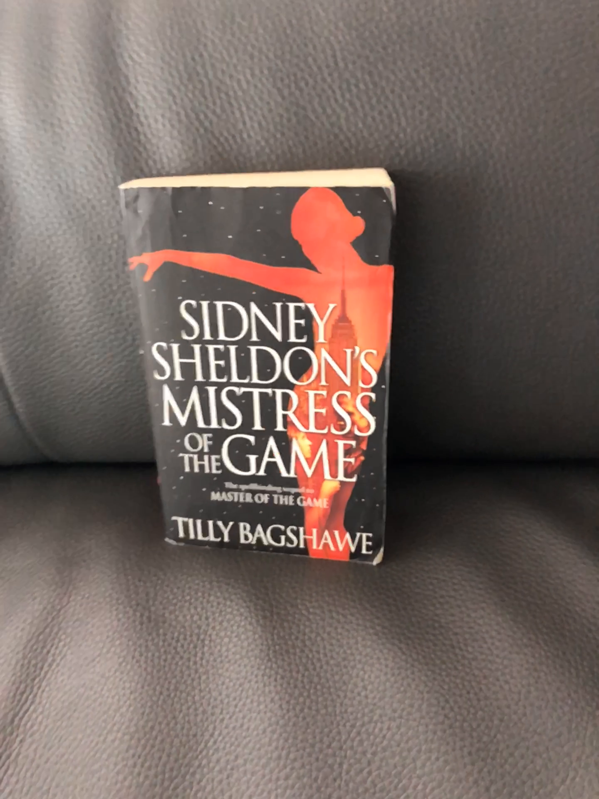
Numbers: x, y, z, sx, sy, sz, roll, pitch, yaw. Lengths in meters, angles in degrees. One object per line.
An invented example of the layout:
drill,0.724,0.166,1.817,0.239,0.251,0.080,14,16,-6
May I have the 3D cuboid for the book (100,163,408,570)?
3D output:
book,-0.012,-0.011,0.314,0.118,0.179,0.046,2,27,12
